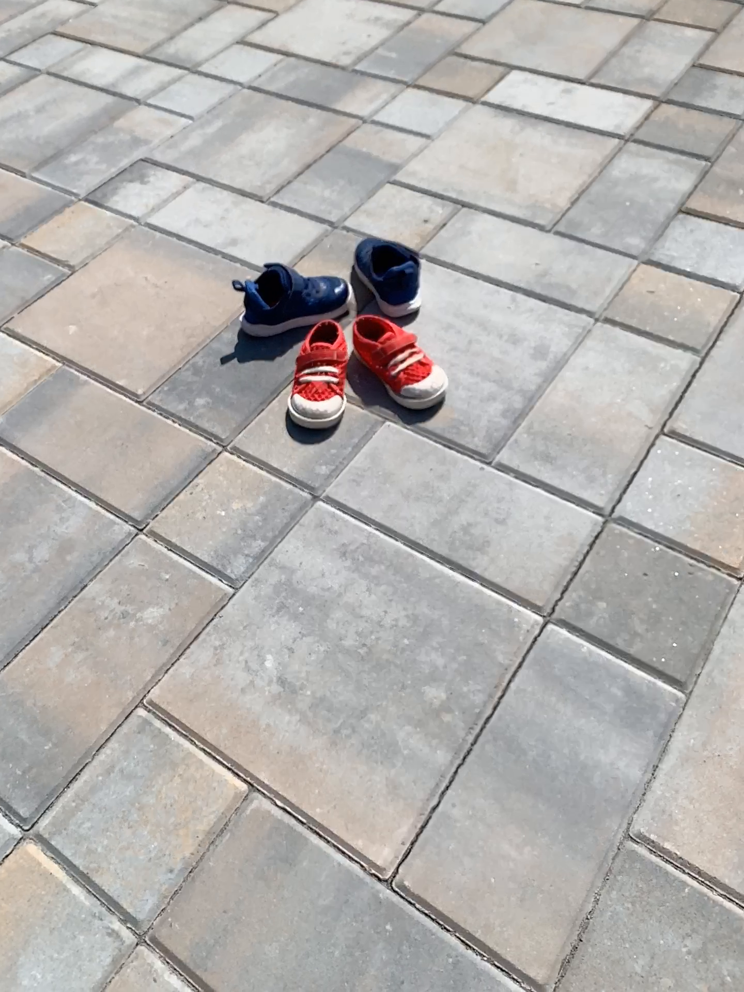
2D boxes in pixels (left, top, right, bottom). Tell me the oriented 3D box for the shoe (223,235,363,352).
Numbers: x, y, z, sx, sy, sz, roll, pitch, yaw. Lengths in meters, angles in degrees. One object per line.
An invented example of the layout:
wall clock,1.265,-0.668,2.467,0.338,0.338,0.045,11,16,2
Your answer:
shoe,-0.104,-0.272,1.030,0.160,0.080,0.080,-20,55,-10

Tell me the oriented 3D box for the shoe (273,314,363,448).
shoe,-0.064,-0.147,0.967,0.080,0.070,0.161,4,54,7

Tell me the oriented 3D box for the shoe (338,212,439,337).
shoe,0.022,-0.309,1.065,0.080,0.070,0.161,-20,55,-10

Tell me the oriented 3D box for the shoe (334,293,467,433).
shoe,0.034,-0.168,0.957,0.080,0.070,0.161,-32,58,-18
